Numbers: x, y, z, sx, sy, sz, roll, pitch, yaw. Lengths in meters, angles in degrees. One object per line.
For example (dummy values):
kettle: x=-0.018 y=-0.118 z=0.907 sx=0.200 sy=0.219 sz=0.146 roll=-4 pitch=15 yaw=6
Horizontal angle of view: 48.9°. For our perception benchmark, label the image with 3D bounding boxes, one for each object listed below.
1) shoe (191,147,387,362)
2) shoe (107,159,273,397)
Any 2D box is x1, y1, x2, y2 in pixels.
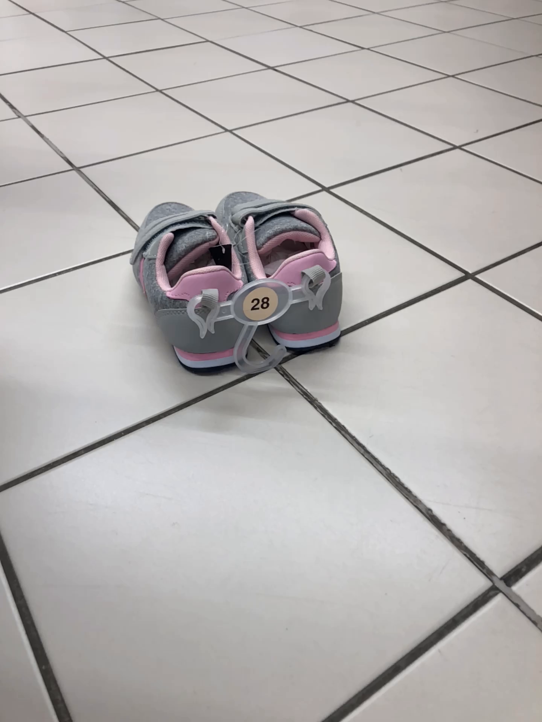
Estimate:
shoe: x=0.004 y=-0.091 z=0.452 sx=0.080 sy=0.070 sz=0.181 roll=-14 pitch=43 yaw=-15
shoe: x=-0.064 y=-0.071 z=0.439 sx=0.080 sy=0.080 sz=0.181 roll=-12 pitch=42 yaw=-13
